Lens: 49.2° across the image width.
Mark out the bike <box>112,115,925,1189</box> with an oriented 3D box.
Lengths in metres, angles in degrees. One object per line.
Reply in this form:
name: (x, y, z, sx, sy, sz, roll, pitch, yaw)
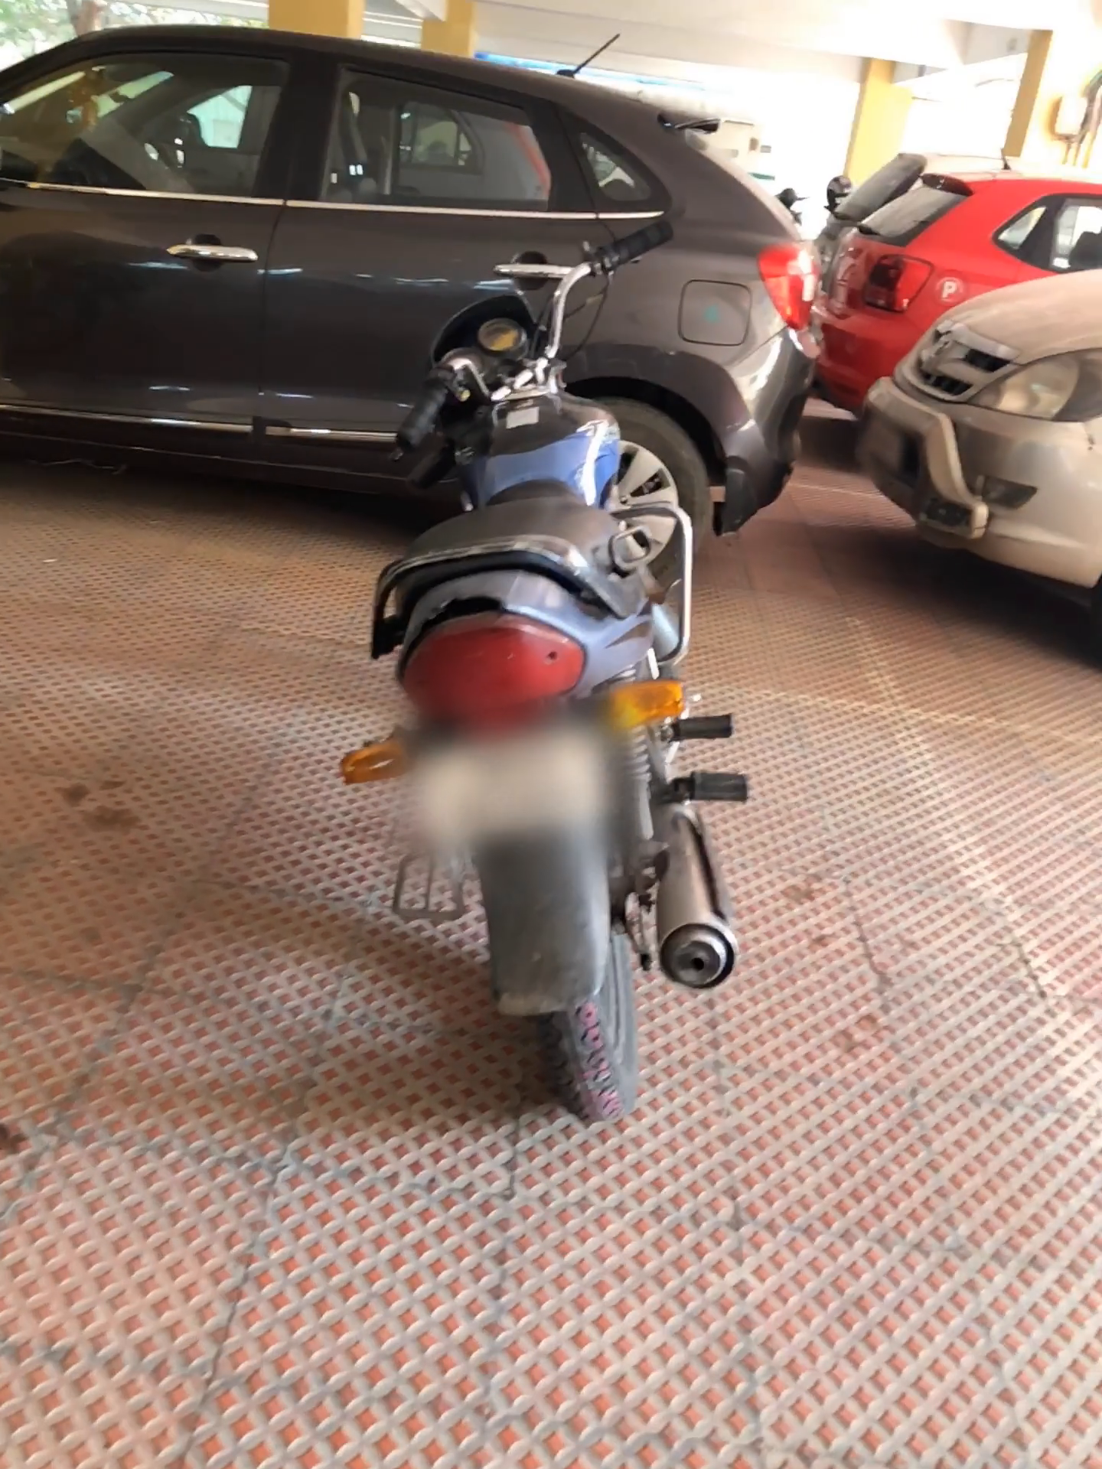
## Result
bike: (-0.190, -0.350, 2.041, 0.733, 1.073, 1.697, 4, 28, -9)
